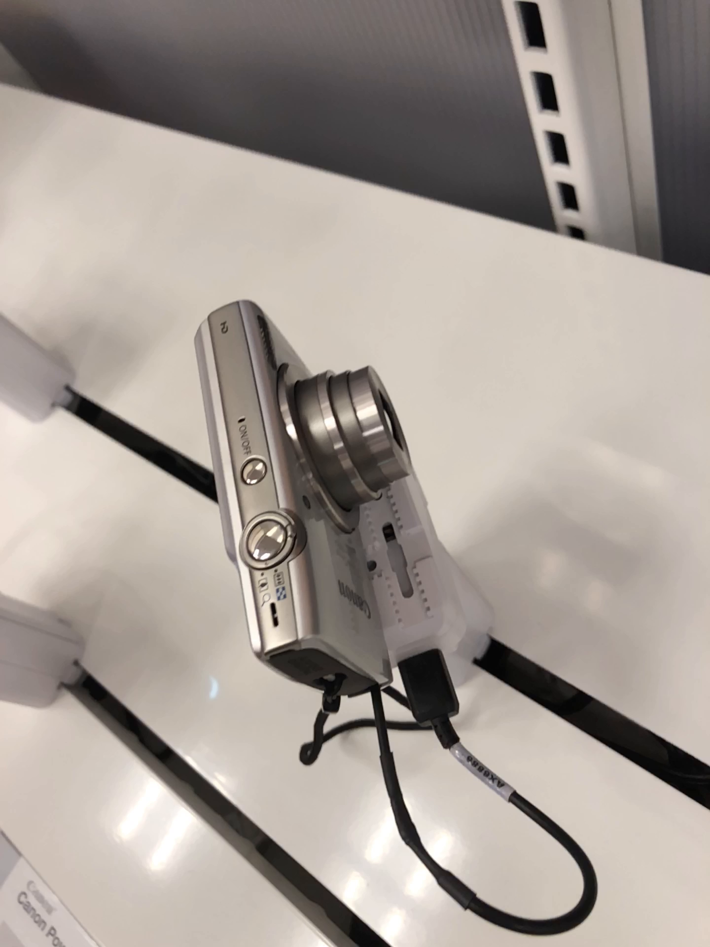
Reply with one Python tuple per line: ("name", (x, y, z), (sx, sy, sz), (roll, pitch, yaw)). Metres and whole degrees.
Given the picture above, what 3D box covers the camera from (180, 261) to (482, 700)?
("camera", (-0.007, 0.003, 0.203), (0.042, 0.055, 0.089), (-22, 59, 14))
